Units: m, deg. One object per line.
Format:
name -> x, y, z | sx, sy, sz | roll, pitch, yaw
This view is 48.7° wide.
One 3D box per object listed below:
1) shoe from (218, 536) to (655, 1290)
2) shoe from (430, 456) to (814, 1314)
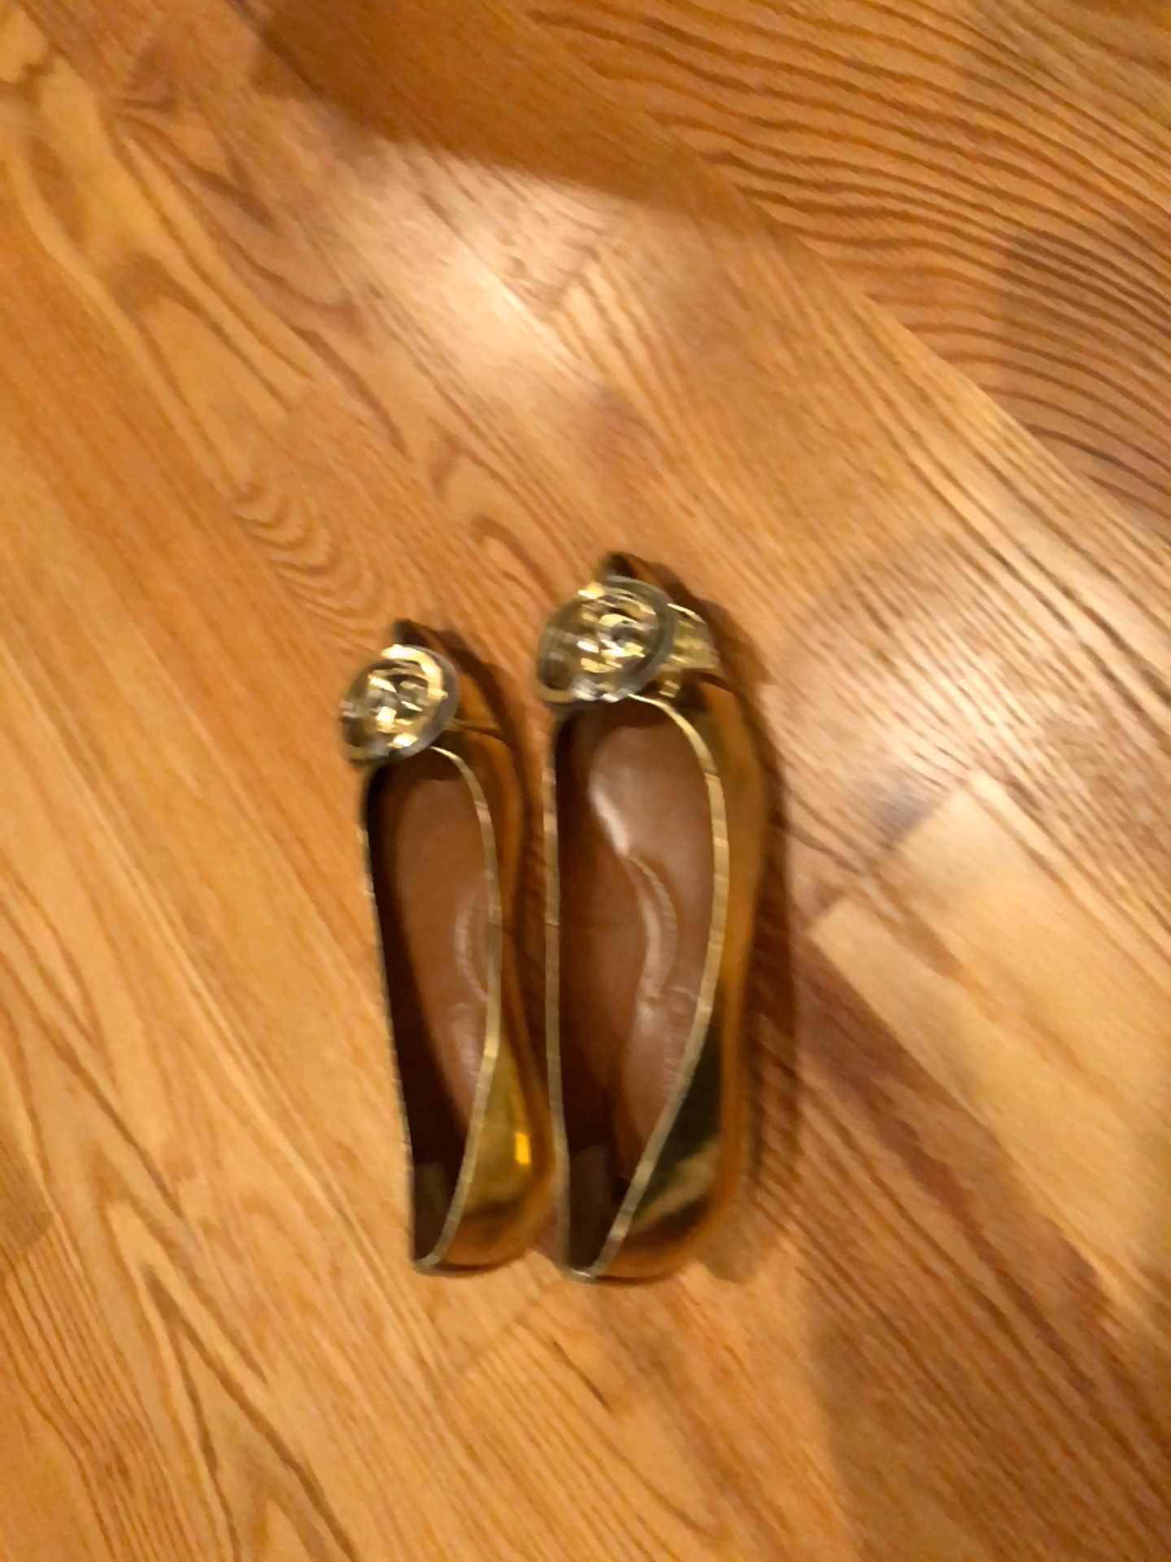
shoe -> -0.058, 0.045, 0.469 | 0.083, 0.066, 0.244 | -23, 75, 31
shoe -> 0.011, 0.032, 0.423 | 0.077, 0.066, 0.249 | -10, 82, 34
